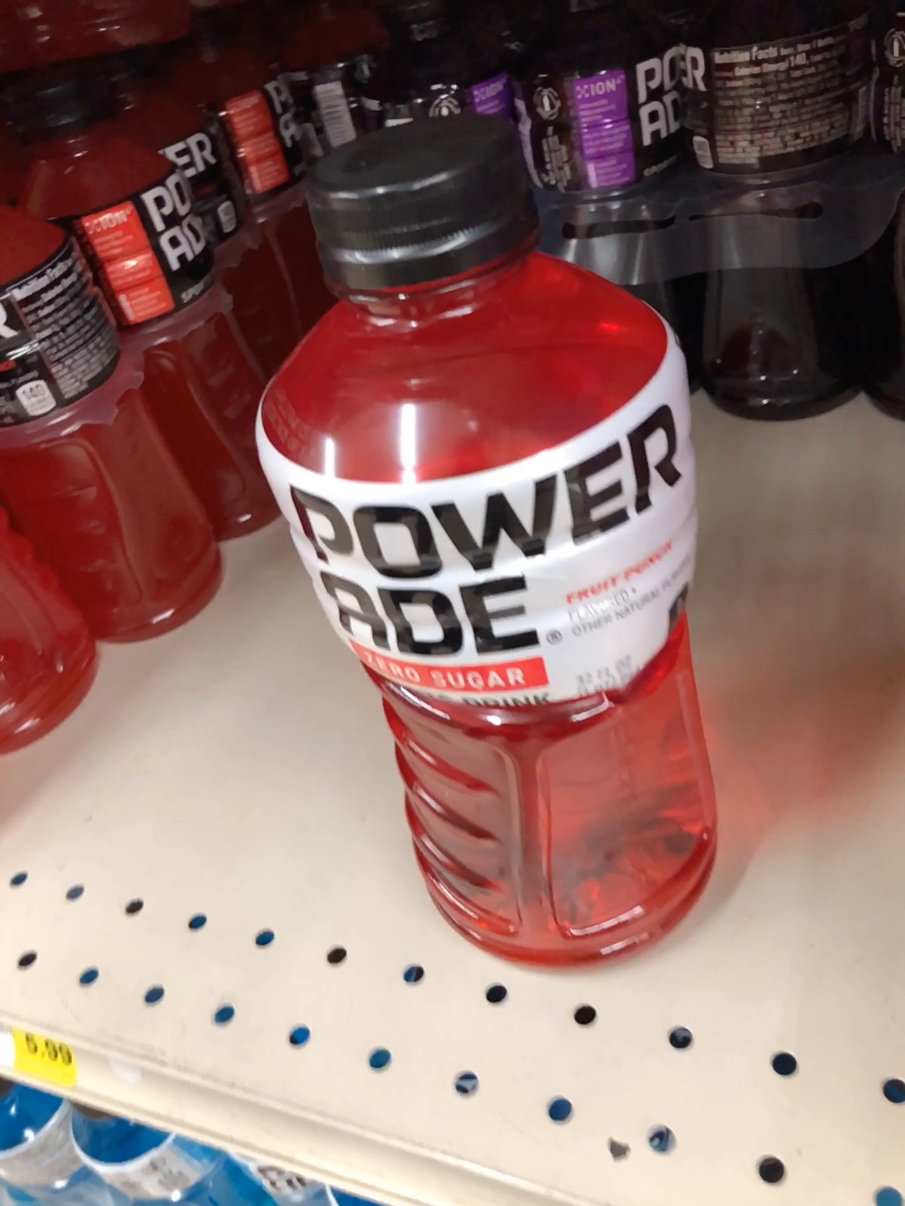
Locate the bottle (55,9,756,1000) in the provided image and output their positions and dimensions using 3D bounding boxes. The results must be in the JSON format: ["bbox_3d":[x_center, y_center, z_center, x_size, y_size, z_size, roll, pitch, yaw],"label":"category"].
[{"bbox_3d":[0.016,-0.007,0.228,0.095,0.189,0.095,-9,40,8],"label":"bottle"}]
